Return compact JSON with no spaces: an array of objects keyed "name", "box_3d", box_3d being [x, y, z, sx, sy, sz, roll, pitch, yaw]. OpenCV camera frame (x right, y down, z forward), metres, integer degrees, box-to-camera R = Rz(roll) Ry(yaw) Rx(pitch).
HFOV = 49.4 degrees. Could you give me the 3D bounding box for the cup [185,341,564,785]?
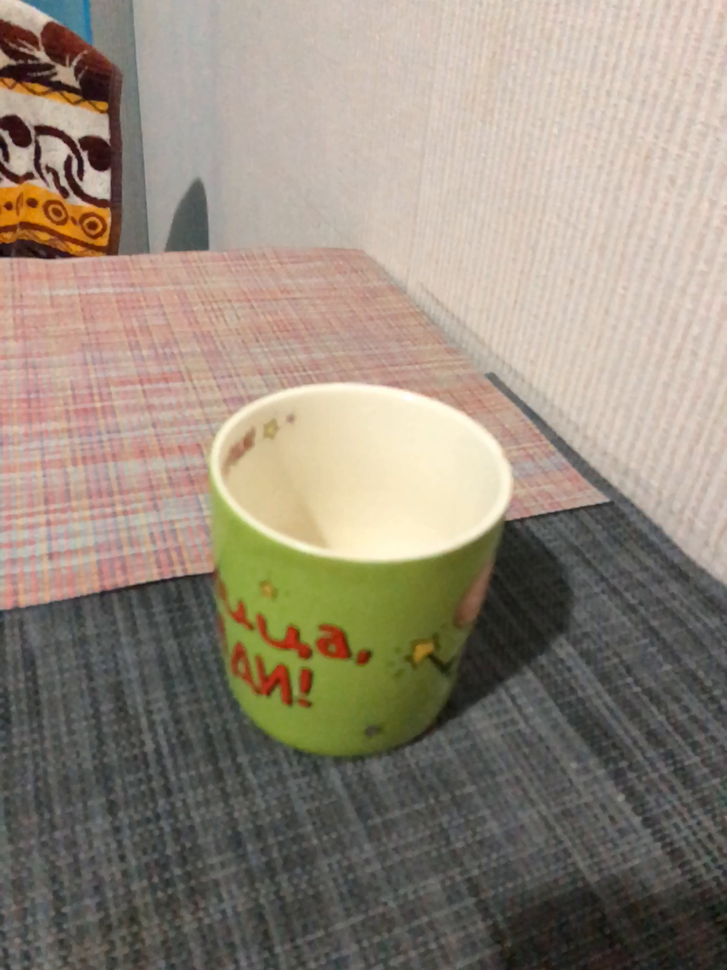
[{"name":"cup","box_3d":[-0.005,0.020,0.255,0.089,0.083,0.116,2,36,-7]}]
